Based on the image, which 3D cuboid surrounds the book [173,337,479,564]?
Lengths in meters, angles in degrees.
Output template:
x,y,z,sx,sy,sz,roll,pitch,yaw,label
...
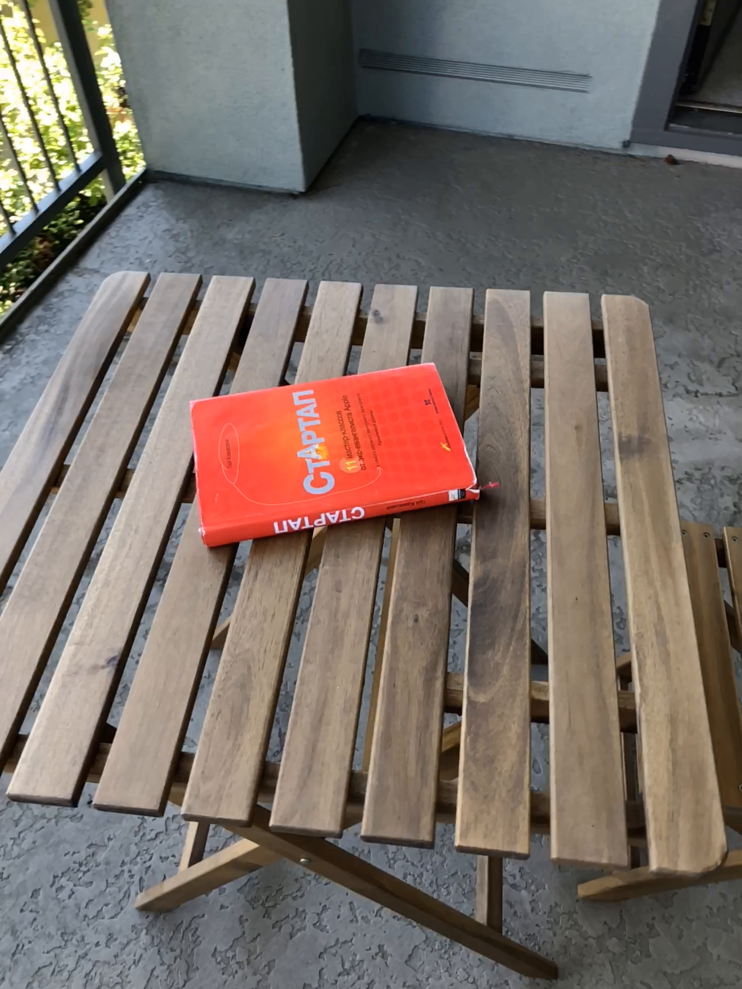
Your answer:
x,y,z,sx,sy,sz,roll,pitch,yaw,label
-0.047,-0.047,0.735,0.240,0.050,0.181,-10,51,-6,book
